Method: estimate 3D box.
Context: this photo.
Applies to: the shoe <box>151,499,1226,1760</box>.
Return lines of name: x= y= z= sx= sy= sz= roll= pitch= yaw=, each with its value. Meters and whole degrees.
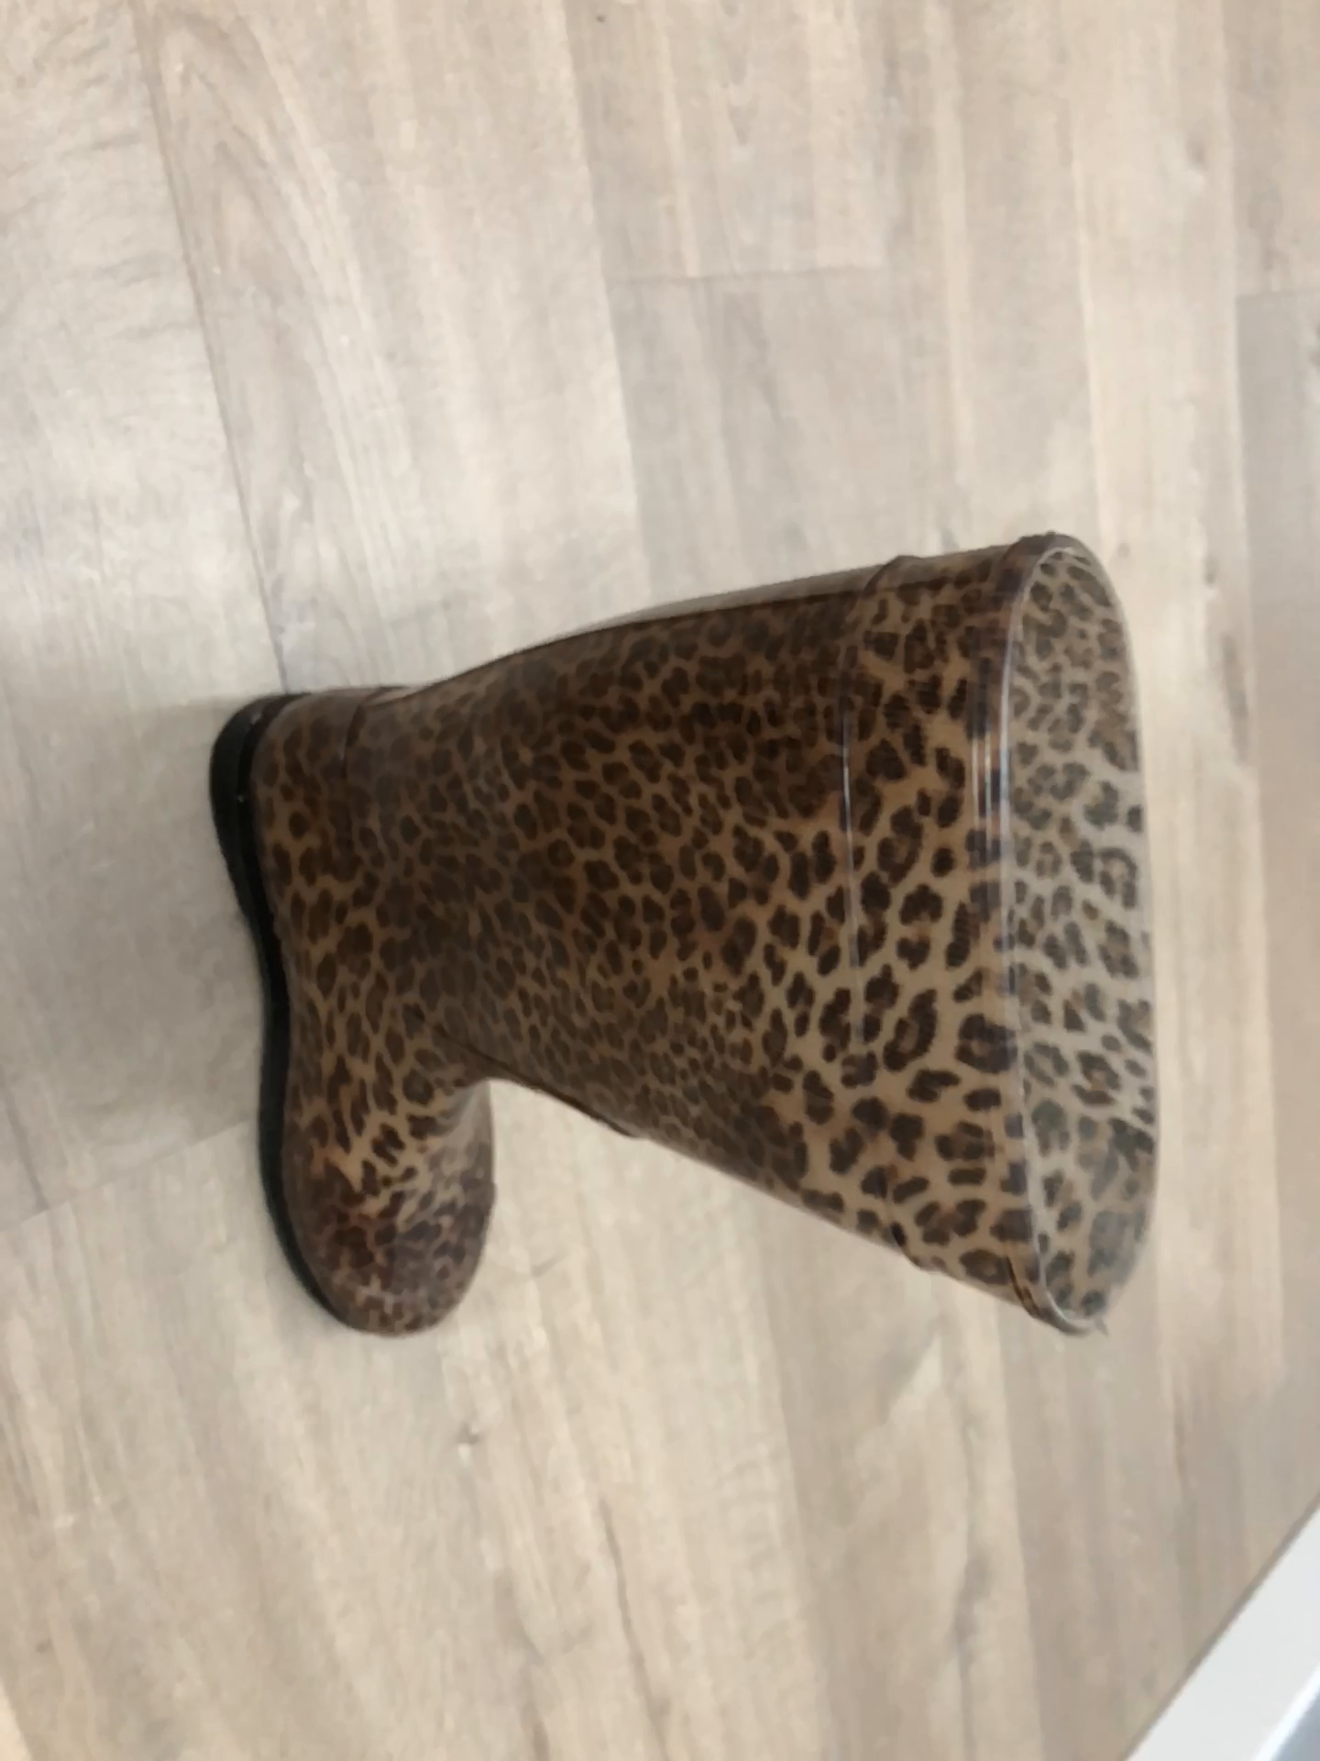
shoe: x=-0.014 y=0.045 z=0.443 sx=0.090 sy=0.338 sz=0.280 roll=-16 pitch=107 yaw=-41
